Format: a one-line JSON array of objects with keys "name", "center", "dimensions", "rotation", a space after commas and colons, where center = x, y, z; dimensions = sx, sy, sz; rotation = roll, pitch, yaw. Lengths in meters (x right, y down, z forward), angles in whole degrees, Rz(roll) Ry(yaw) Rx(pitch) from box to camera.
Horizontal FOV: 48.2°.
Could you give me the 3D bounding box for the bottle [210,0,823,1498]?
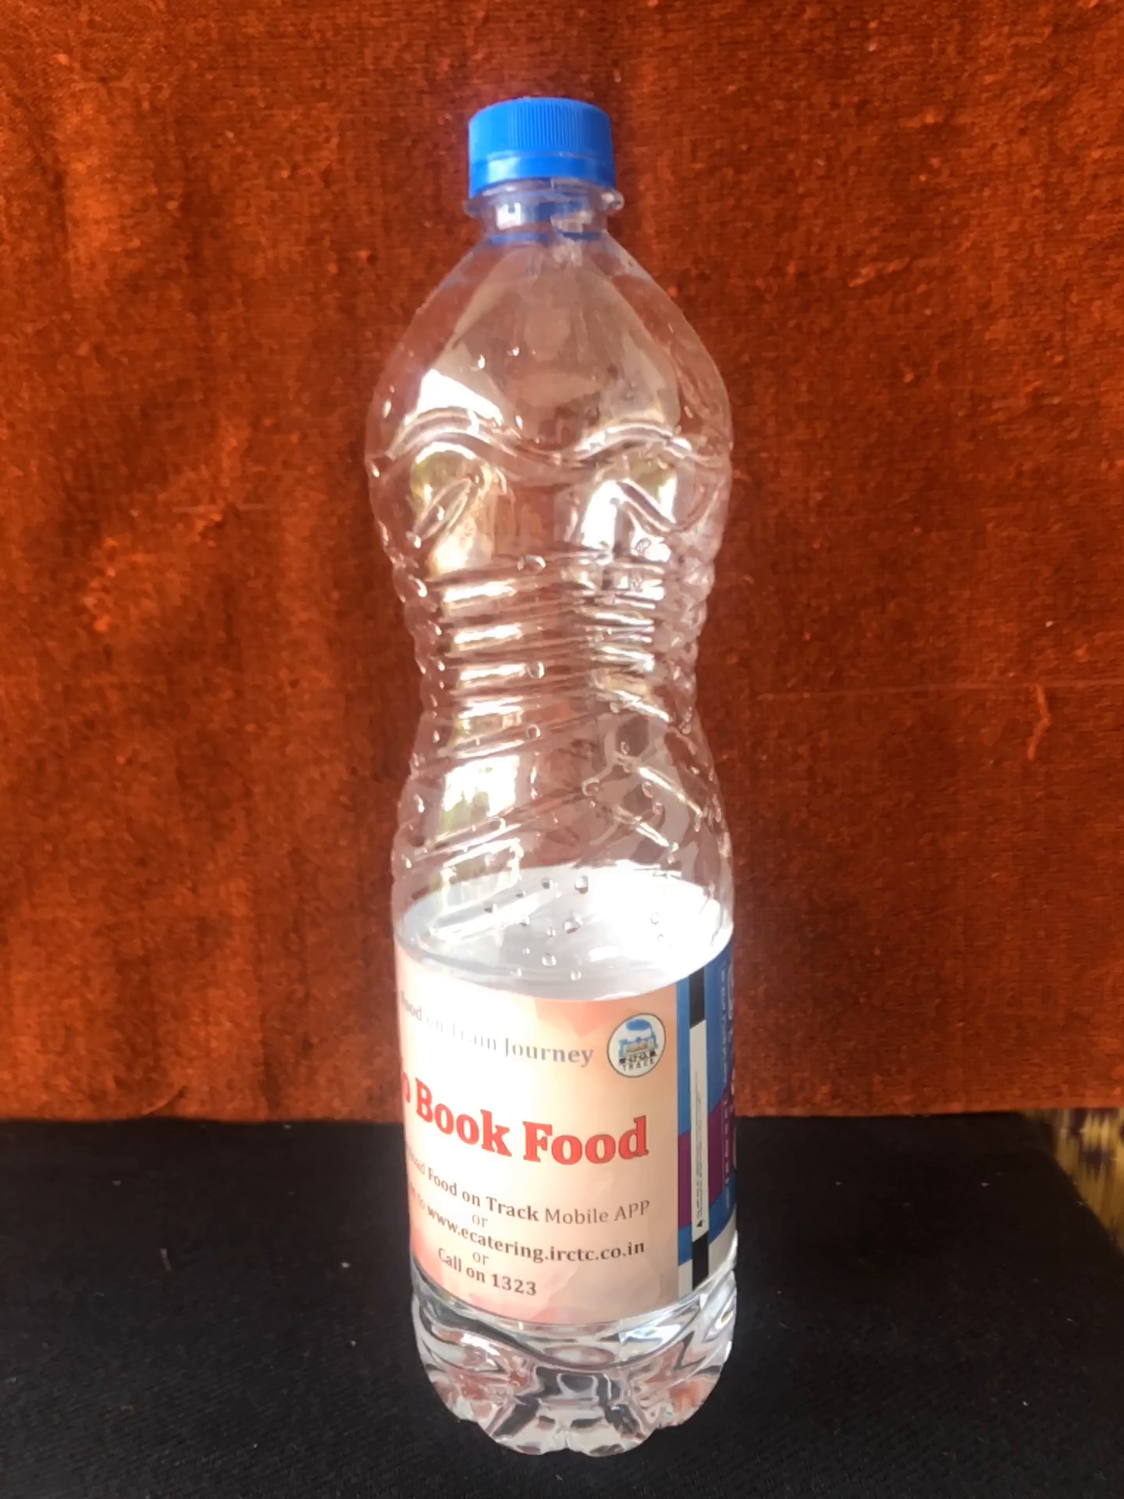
[{"name": "bottle", "center": [-0.007, 0.010, 0.264], "dimensions": [0.090, 0.279, 0.070], "rotation": [8, 15, 31]}]
